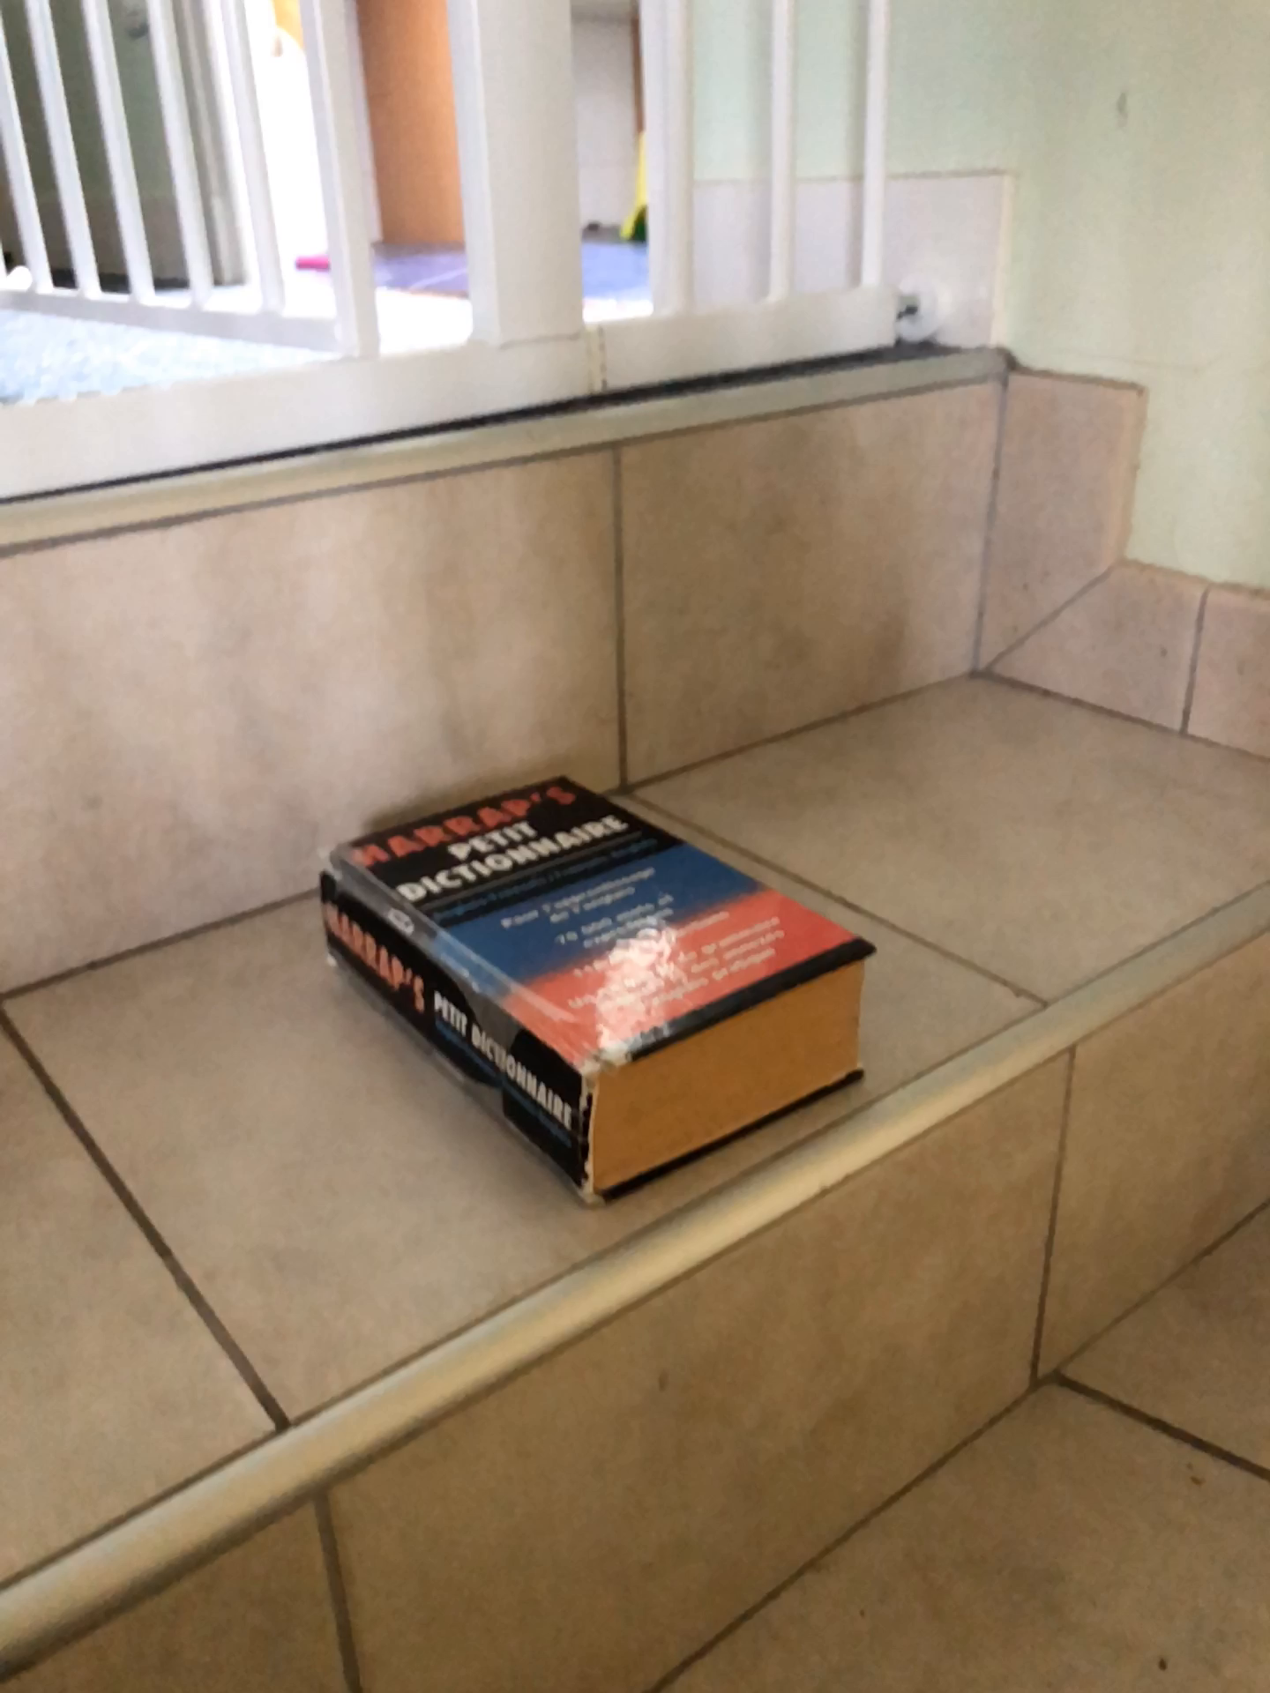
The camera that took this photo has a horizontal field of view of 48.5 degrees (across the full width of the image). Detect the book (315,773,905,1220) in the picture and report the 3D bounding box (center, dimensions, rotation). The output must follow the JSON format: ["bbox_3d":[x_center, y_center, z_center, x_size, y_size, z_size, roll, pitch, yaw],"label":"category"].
[{"bbox_3d":[-0.015,0.038,0.496,0.118,0.050,0.185,-19,30,-32],"label":"book"}]
